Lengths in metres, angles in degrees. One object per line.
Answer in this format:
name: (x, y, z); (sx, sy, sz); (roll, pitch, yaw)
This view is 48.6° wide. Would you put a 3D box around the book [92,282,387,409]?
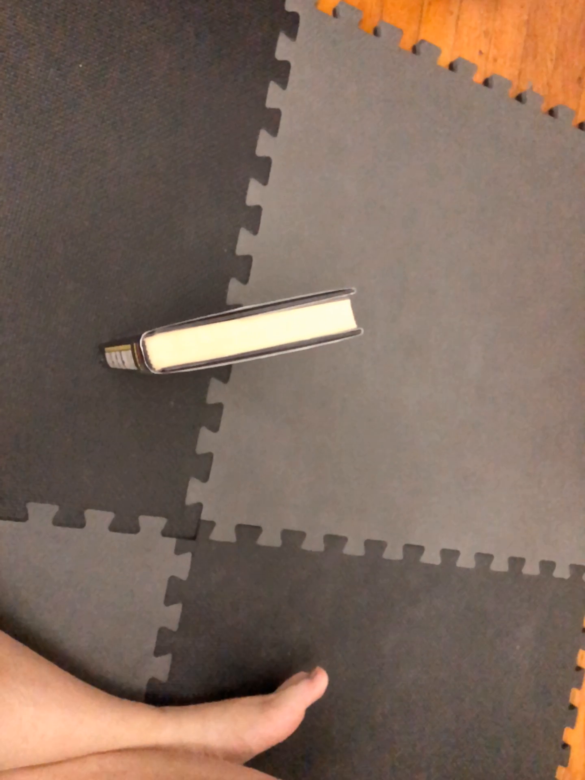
book: (-0.065, -0.042, 0.566); (0.180, 0.260, 0.050); (-15, 99, -21)
